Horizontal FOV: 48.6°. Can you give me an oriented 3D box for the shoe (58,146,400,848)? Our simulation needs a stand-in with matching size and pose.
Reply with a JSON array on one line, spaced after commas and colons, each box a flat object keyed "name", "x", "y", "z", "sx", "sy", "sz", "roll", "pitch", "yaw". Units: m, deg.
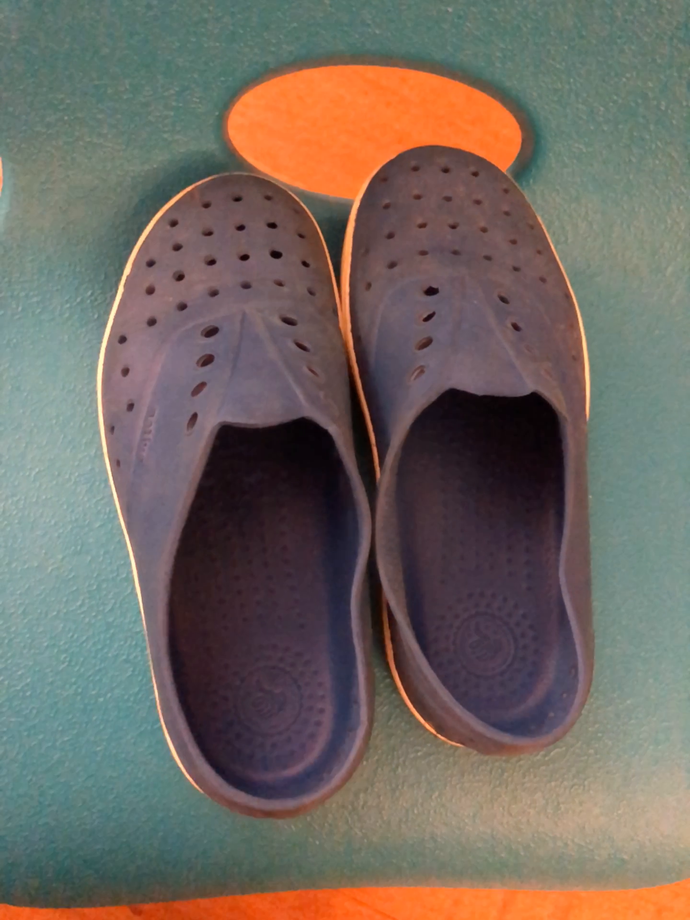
[{"name": "shoe", "x": -0.043, "y": 0.007, "z": 0.273, "sx": 0.090, "sy": 0.080, "sz": 0.210, "roll": -4, "pitch": 80, "yaw": -8}]

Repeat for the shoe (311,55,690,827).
[{"name": "shoe", "x": 0.051, "y": -0.014, "z": 0.273, "sx": 0.100, "sy": 0.070, "sz": 0.240, "roll": -4, "pitch": 80, "yaw": -8}]
